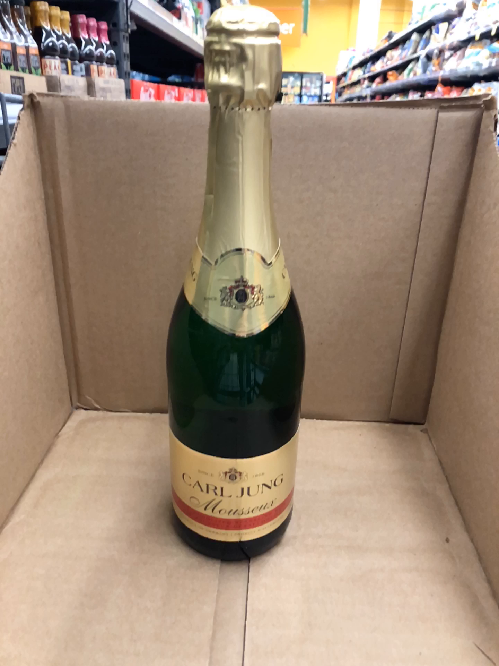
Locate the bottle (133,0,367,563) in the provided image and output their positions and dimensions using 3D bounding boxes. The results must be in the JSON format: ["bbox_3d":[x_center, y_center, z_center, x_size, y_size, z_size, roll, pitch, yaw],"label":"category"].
[{"bbox_3d":[-0.003,-0.019,0.301,0.090,0.288,0.081,2,21,0],"label":"bottle"}]
